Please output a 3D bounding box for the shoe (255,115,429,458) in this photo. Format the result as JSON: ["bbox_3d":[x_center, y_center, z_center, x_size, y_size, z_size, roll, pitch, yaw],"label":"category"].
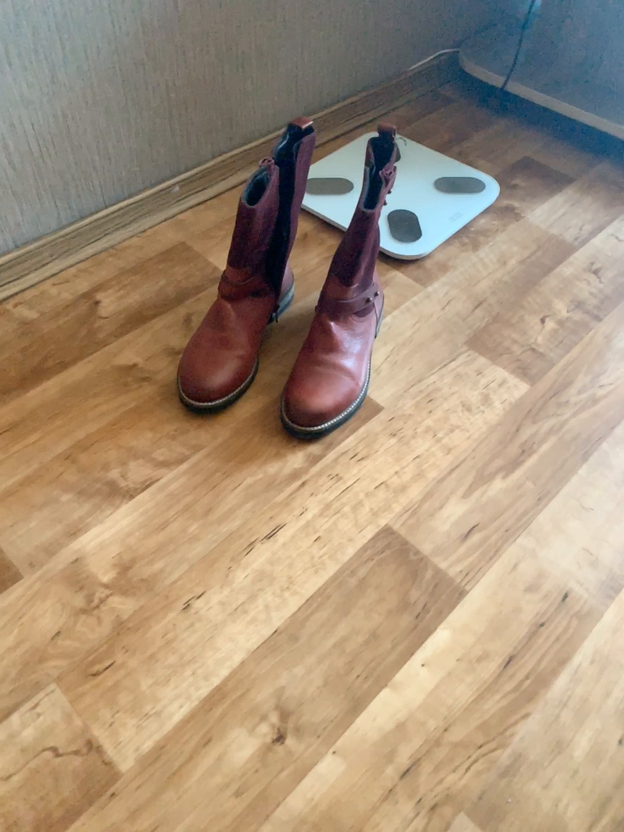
[{"bbox_3d":[0.033,-0.135,0.667,0.090,0.239,0.251,15,52,10],"label":"shoe"}]

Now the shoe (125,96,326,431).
[{"bbox_3d":[-0.076,-0.166,0.704,0.100,0.249,0.251,15,52,10],"label":"shoe"}]
